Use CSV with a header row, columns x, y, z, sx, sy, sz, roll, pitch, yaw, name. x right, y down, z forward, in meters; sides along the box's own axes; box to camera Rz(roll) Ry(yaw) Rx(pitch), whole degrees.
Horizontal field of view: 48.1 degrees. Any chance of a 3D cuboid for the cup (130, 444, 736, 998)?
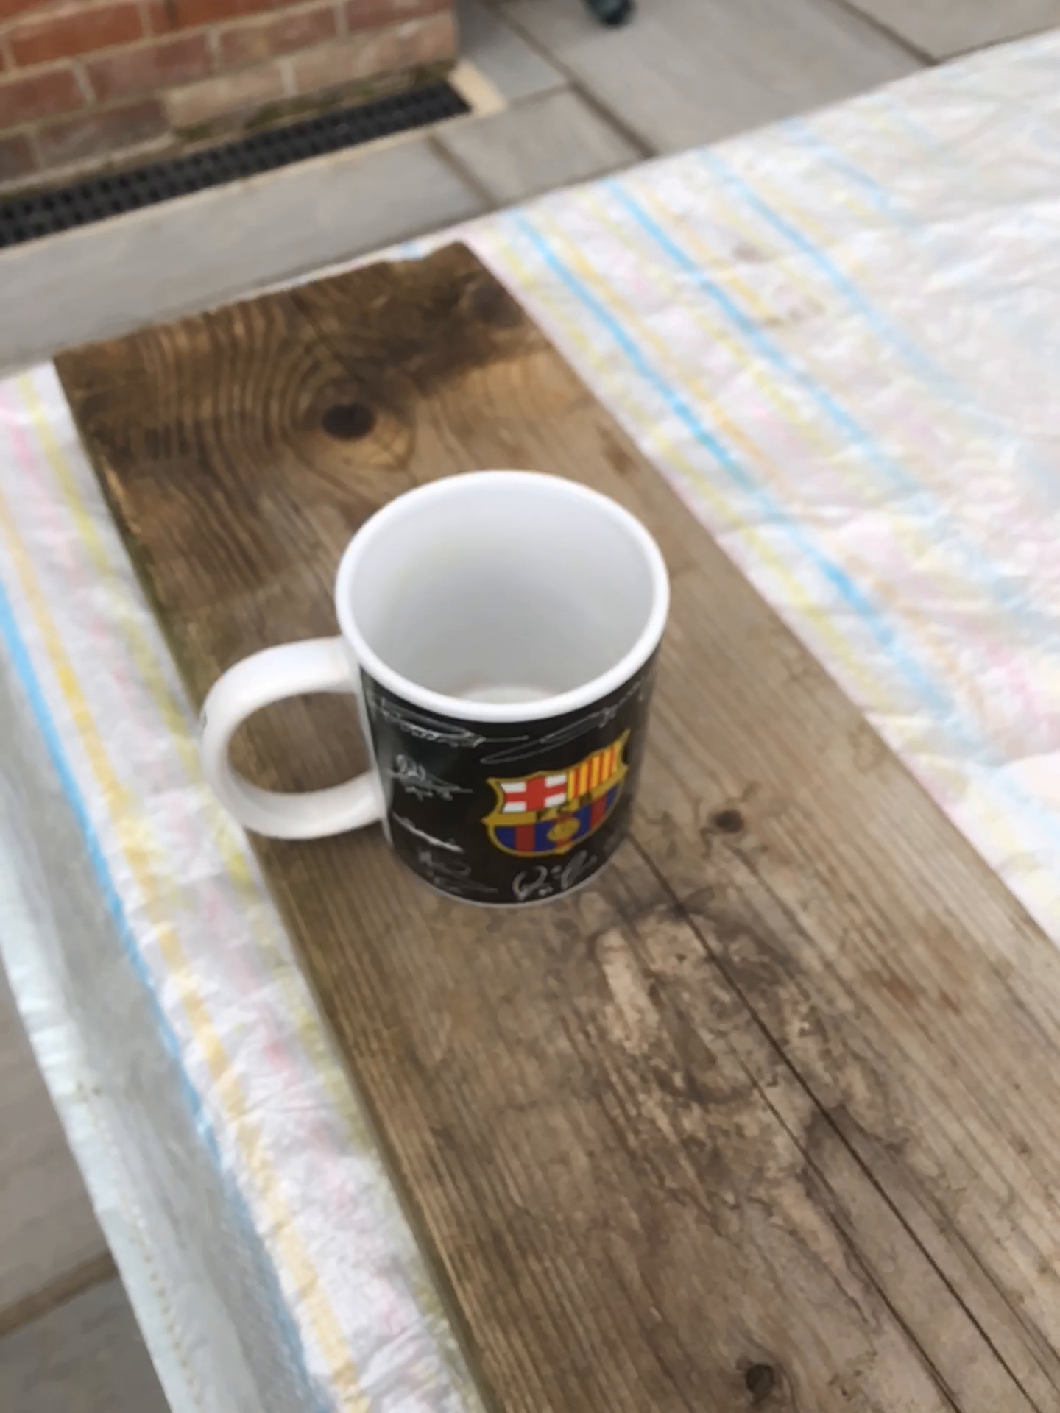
x,y,z,sx,sy,sz,roll,pitch,yaw,name
-0.028,0.004,0.328,0.130,0.089,0.090,-14,57,-10,cup
